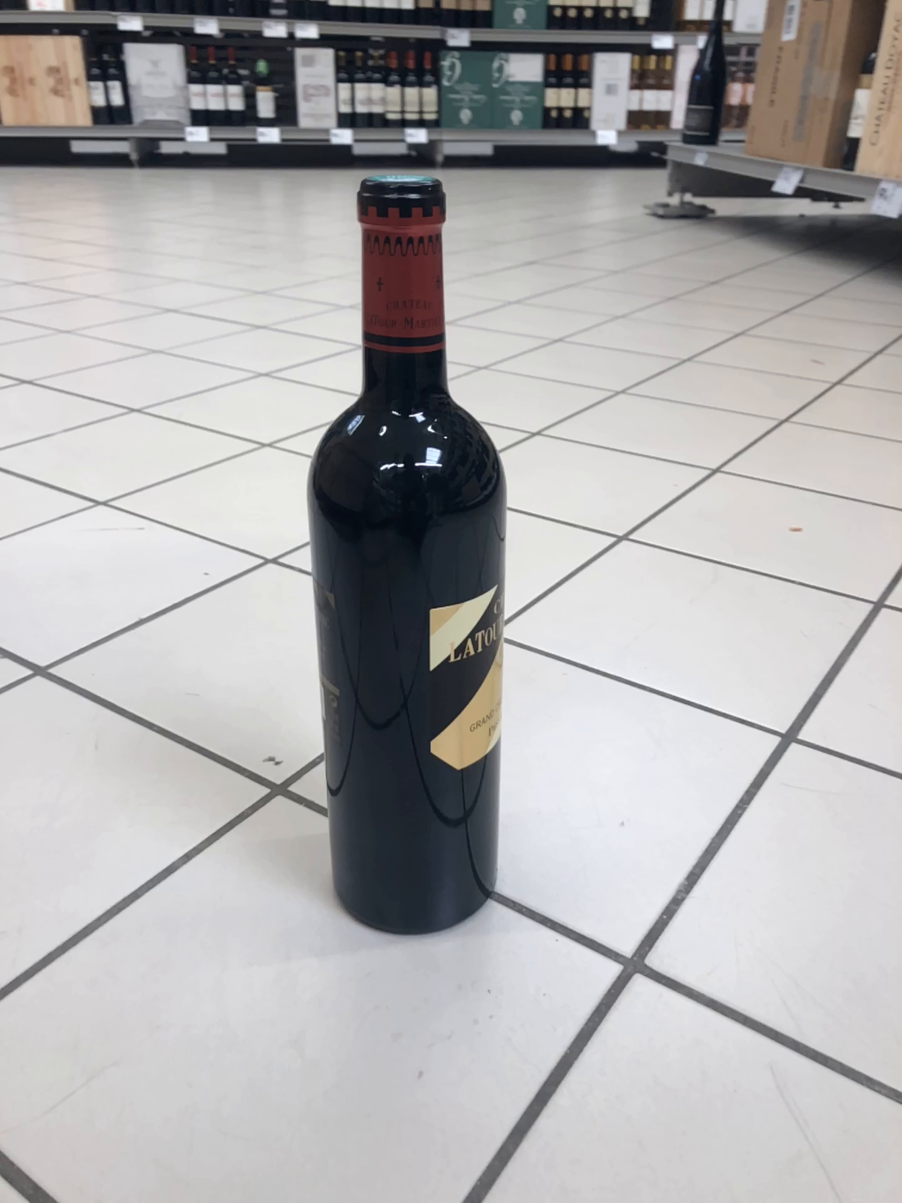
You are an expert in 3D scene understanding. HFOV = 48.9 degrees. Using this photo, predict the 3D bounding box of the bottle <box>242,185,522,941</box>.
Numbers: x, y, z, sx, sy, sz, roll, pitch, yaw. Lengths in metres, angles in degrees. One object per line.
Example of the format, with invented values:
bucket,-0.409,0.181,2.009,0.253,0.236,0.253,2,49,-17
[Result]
bottle,-0.024,-0.006,0.381,0.080,0.278,0.080,1,26,0
